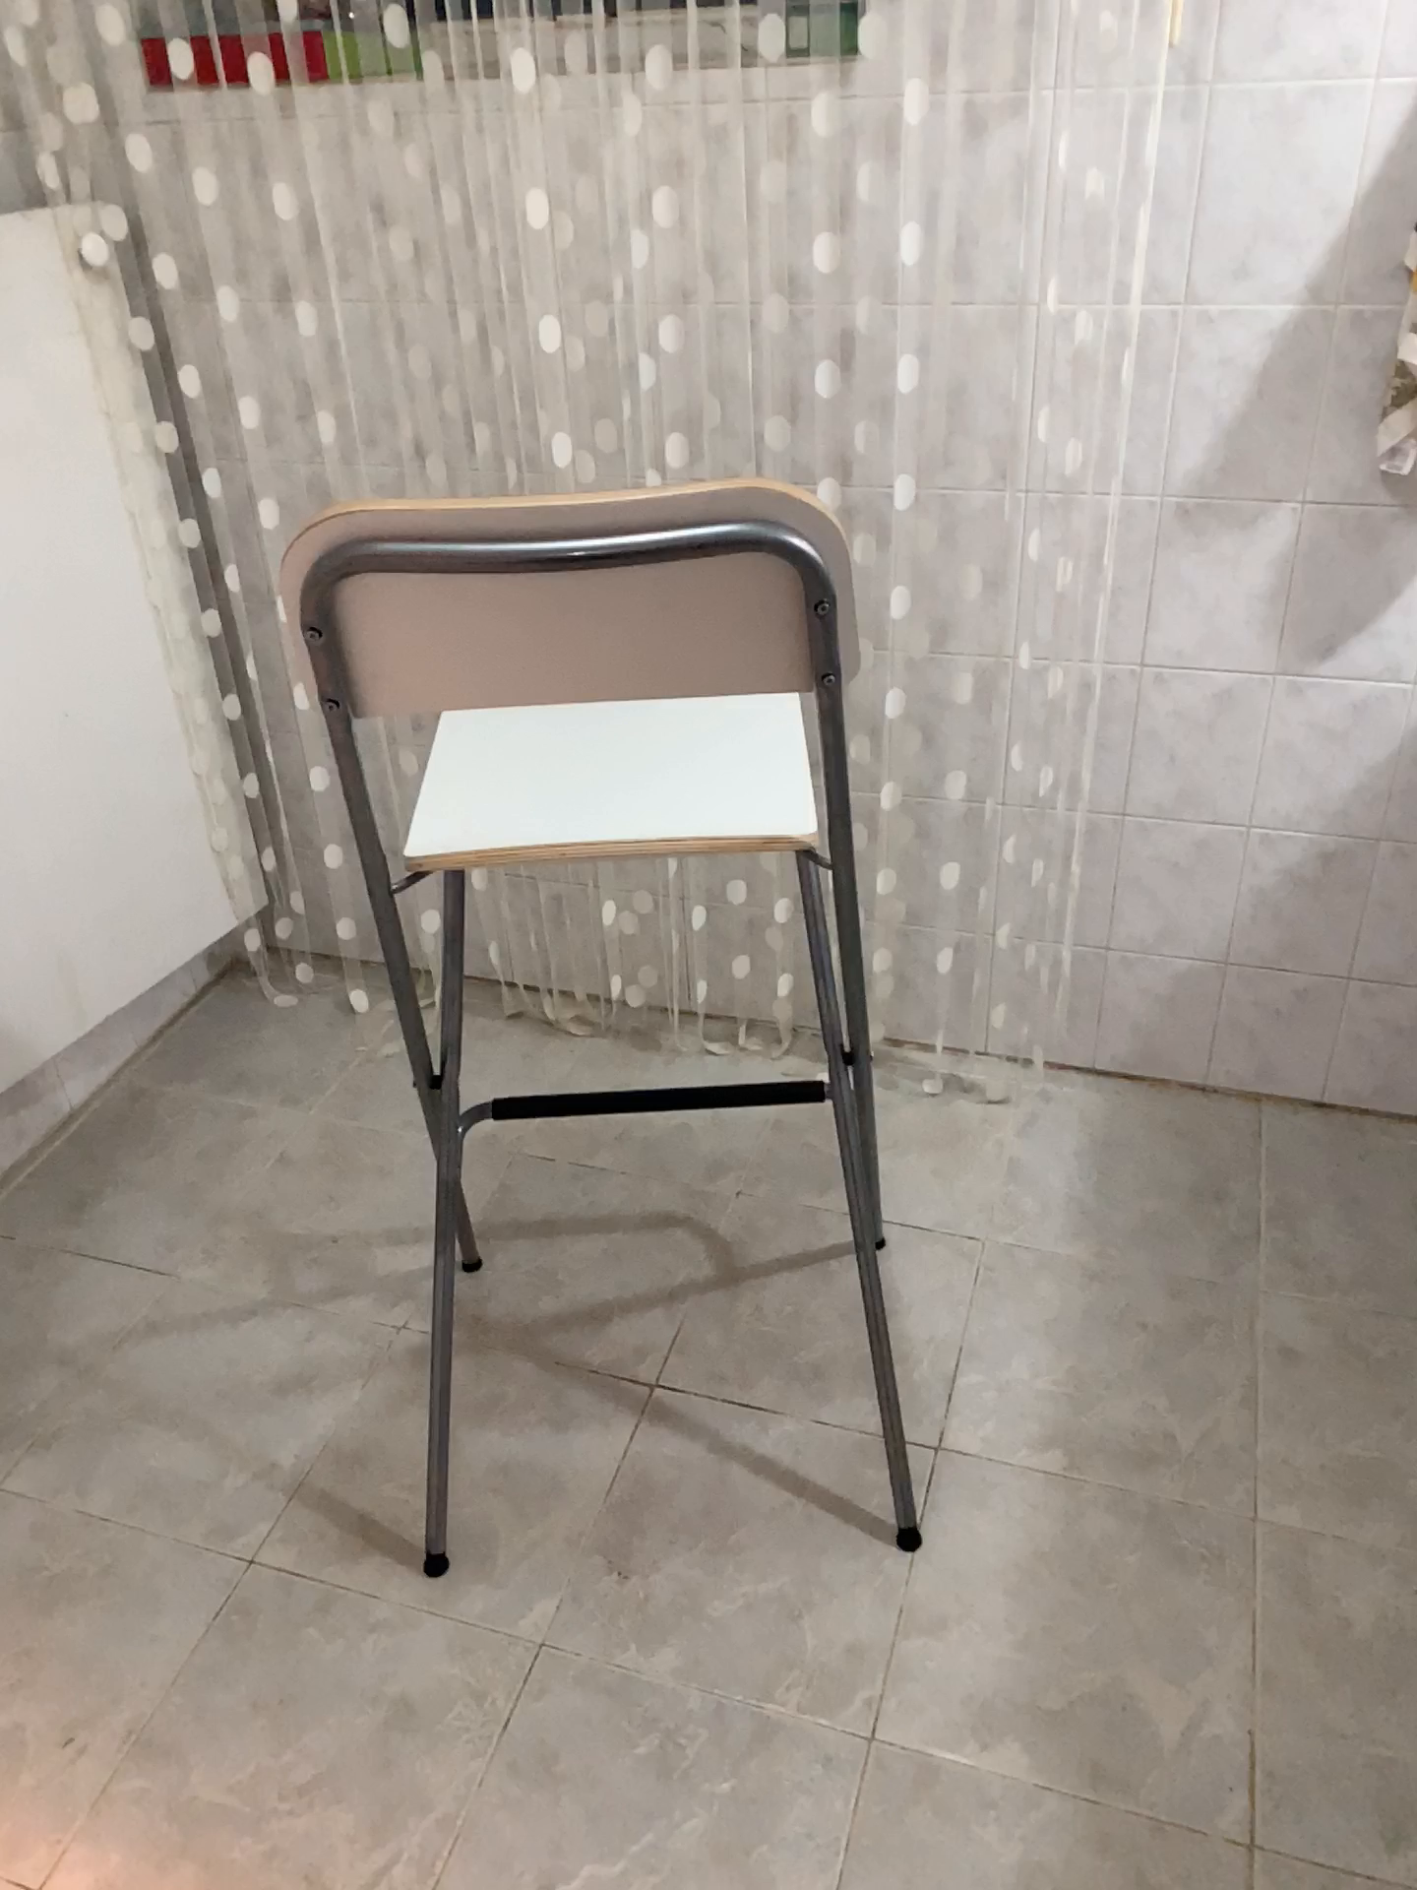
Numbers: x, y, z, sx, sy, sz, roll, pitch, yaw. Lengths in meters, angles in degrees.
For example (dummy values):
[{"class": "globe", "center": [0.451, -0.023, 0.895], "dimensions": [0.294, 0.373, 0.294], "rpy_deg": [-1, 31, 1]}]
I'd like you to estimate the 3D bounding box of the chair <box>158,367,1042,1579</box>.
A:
[{"class": "chair", "center": [-0.058, 0.053, 1.337], "dimensions": [0.537, 1.008, 0.468], "rpy_deg": [-3, 32, -1]}]
